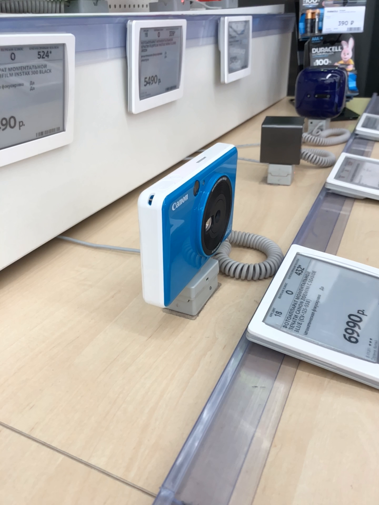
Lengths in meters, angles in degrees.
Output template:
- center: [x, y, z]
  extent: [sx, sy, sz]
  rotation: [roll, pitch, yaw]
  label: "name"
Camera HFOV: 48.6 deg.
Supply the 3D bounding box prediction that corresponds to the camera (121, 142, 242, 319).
- center: [0.000, -0.022, 0.283]
  extent: [0.025, 0.072, 0.120]
  rotation: [15, 34, 22]
  label: "camera"
